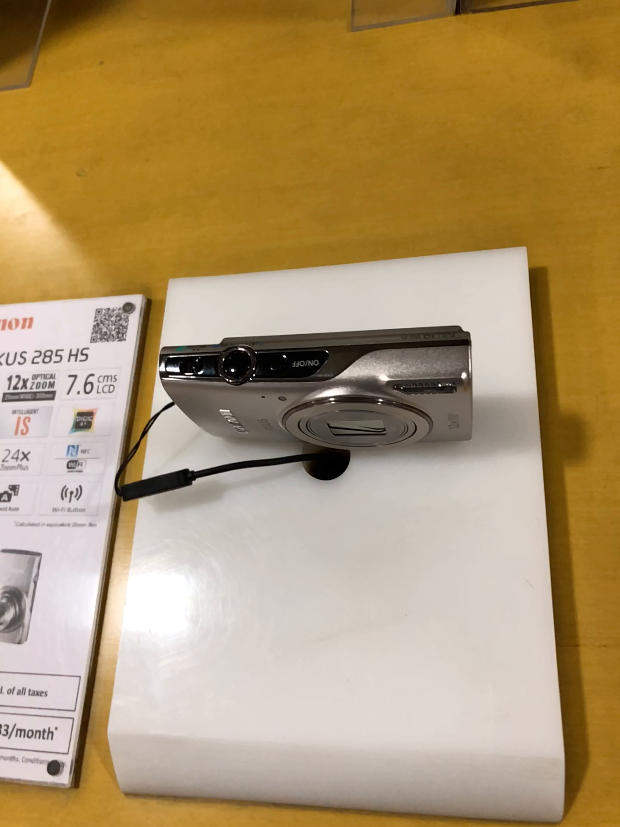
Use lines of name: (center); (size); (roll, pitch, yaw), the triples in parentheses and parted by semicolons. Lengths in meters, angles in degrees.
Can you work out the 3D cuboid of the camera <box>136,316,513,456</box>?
camera: (0.008, -0.006, 0.228); (0.110, 0.060, 0.020); (-2, 69, 12)
